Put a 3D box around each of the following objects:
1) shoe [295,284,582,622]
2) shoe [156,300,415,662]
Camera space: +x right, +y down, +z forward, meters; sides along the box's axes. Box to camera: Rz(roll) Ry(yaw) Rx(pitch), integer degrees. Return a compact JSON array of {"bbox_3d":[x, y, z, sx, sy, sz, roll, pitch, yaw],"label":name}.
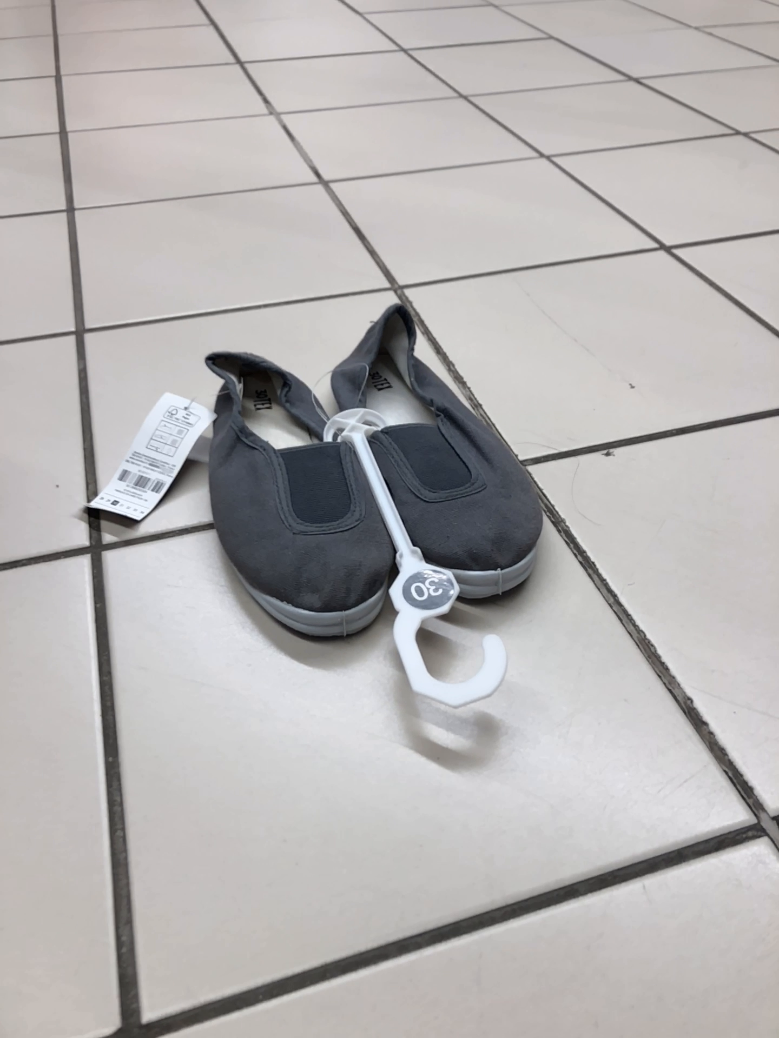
[{"bbox_3d":[0.012,-0.042,0.393,0.070,0.046,0.186,-11,42,-12],"label":"shoe"},{"bbox_3d":[-0.053,-0.030,0.379,0.077,0.046,0.186,-10,42,-12],"label":"shoe"}]
